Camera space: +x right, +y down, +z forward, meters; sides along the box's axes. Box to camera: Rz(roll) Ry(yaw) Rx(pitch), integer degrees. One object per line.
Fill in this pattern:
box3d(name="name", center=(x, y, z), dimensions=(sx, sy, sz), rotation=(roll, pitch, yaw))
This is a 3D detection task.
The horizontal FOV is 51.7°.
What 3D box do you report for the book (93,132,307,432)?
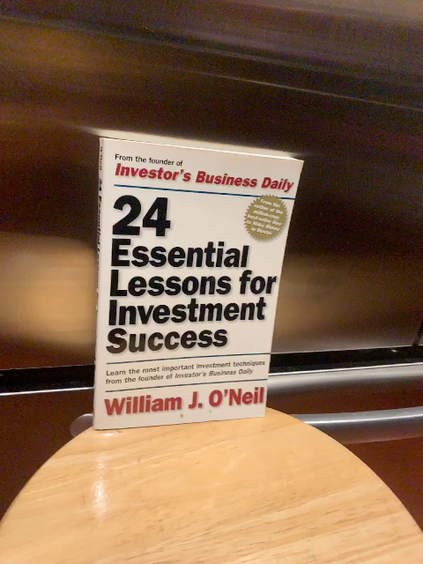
box3d(name="book", center=(-0.016, 0.007, 0.352), dimensions=(0.150, 0.229, 0.030), rotation=(1, 18, -16))
